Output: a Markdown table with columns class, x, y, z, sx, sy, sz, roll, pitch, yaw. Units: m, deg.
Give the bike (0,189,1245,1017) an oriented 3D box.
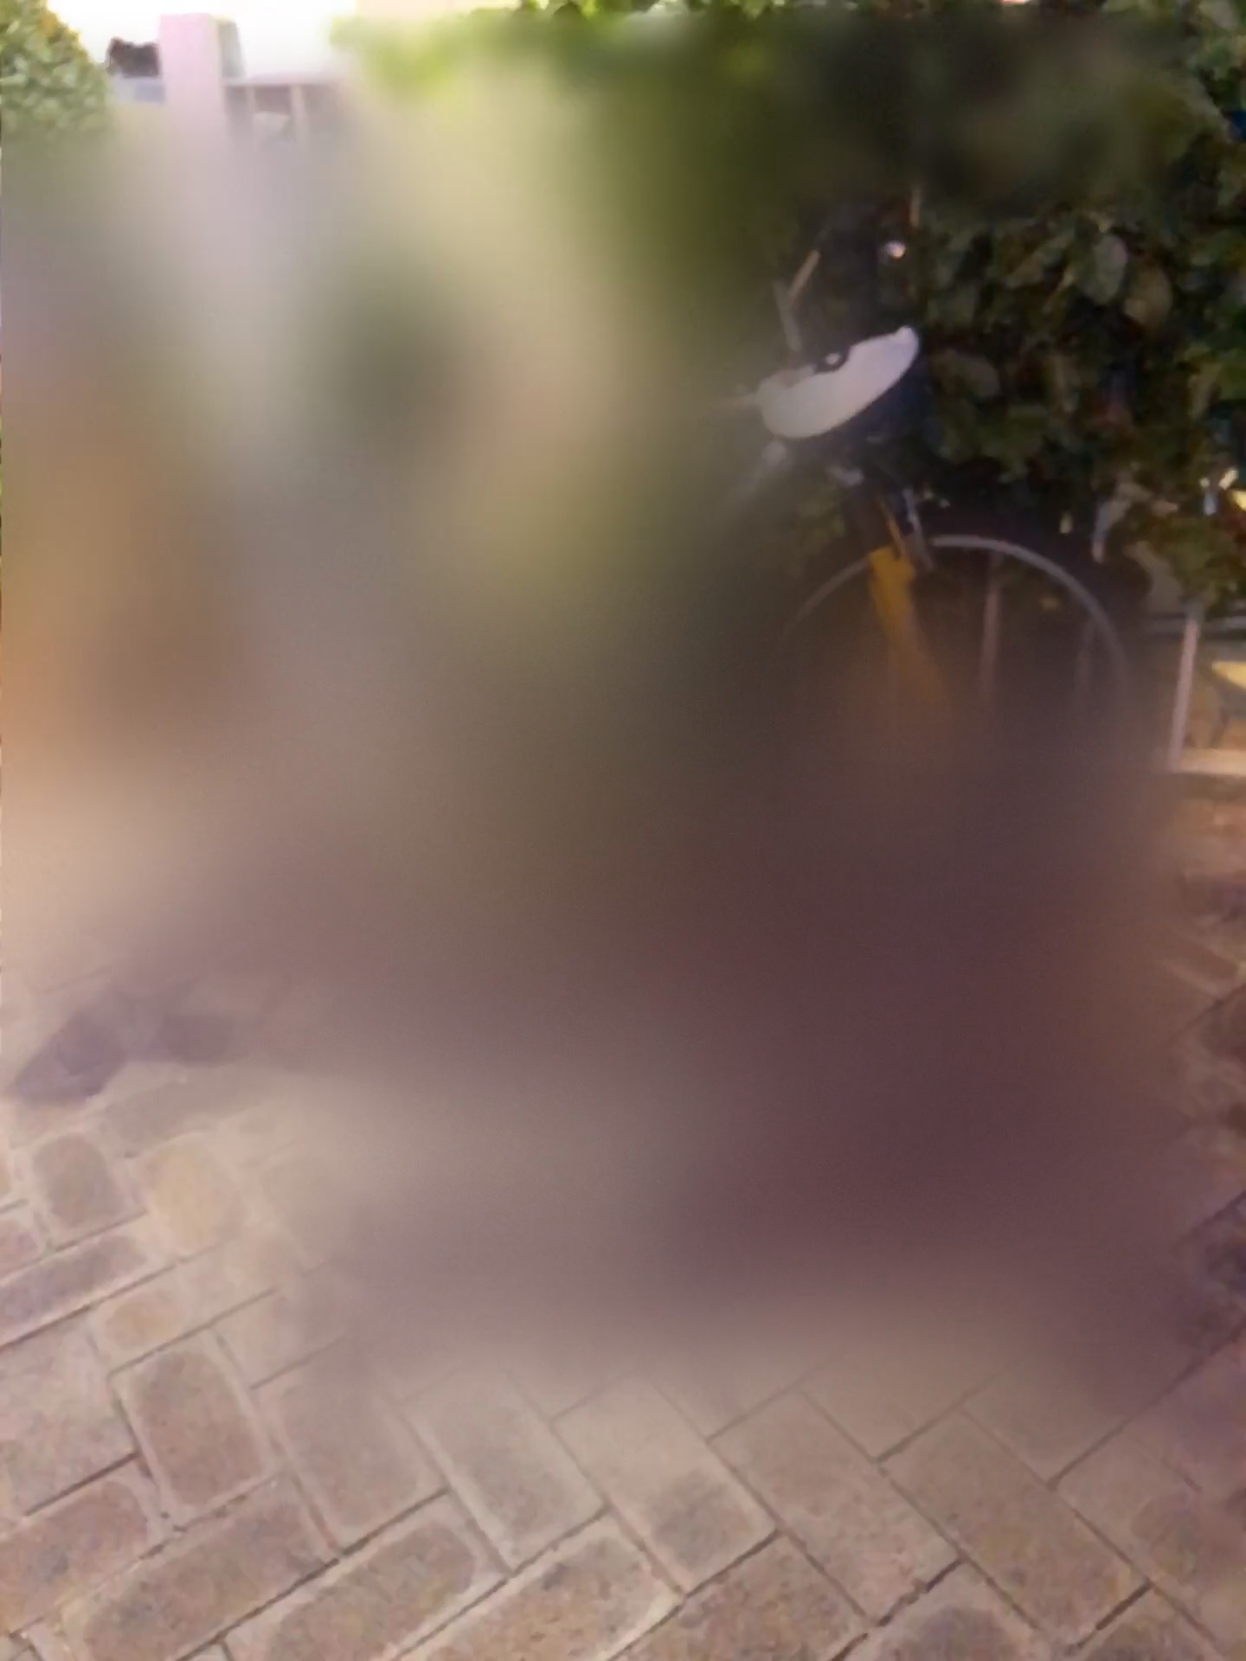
| class | x | y | z | sx | sy | sz | roll | pitch | yaw |
| --- | --- | --- | --- | --- | --- | --- | --- | --- | --- |
| bike | -0.051 | -0.365 | 2.053 | 1.692 | 0.995 | 0.554 | 3 | 27 | 11 |
